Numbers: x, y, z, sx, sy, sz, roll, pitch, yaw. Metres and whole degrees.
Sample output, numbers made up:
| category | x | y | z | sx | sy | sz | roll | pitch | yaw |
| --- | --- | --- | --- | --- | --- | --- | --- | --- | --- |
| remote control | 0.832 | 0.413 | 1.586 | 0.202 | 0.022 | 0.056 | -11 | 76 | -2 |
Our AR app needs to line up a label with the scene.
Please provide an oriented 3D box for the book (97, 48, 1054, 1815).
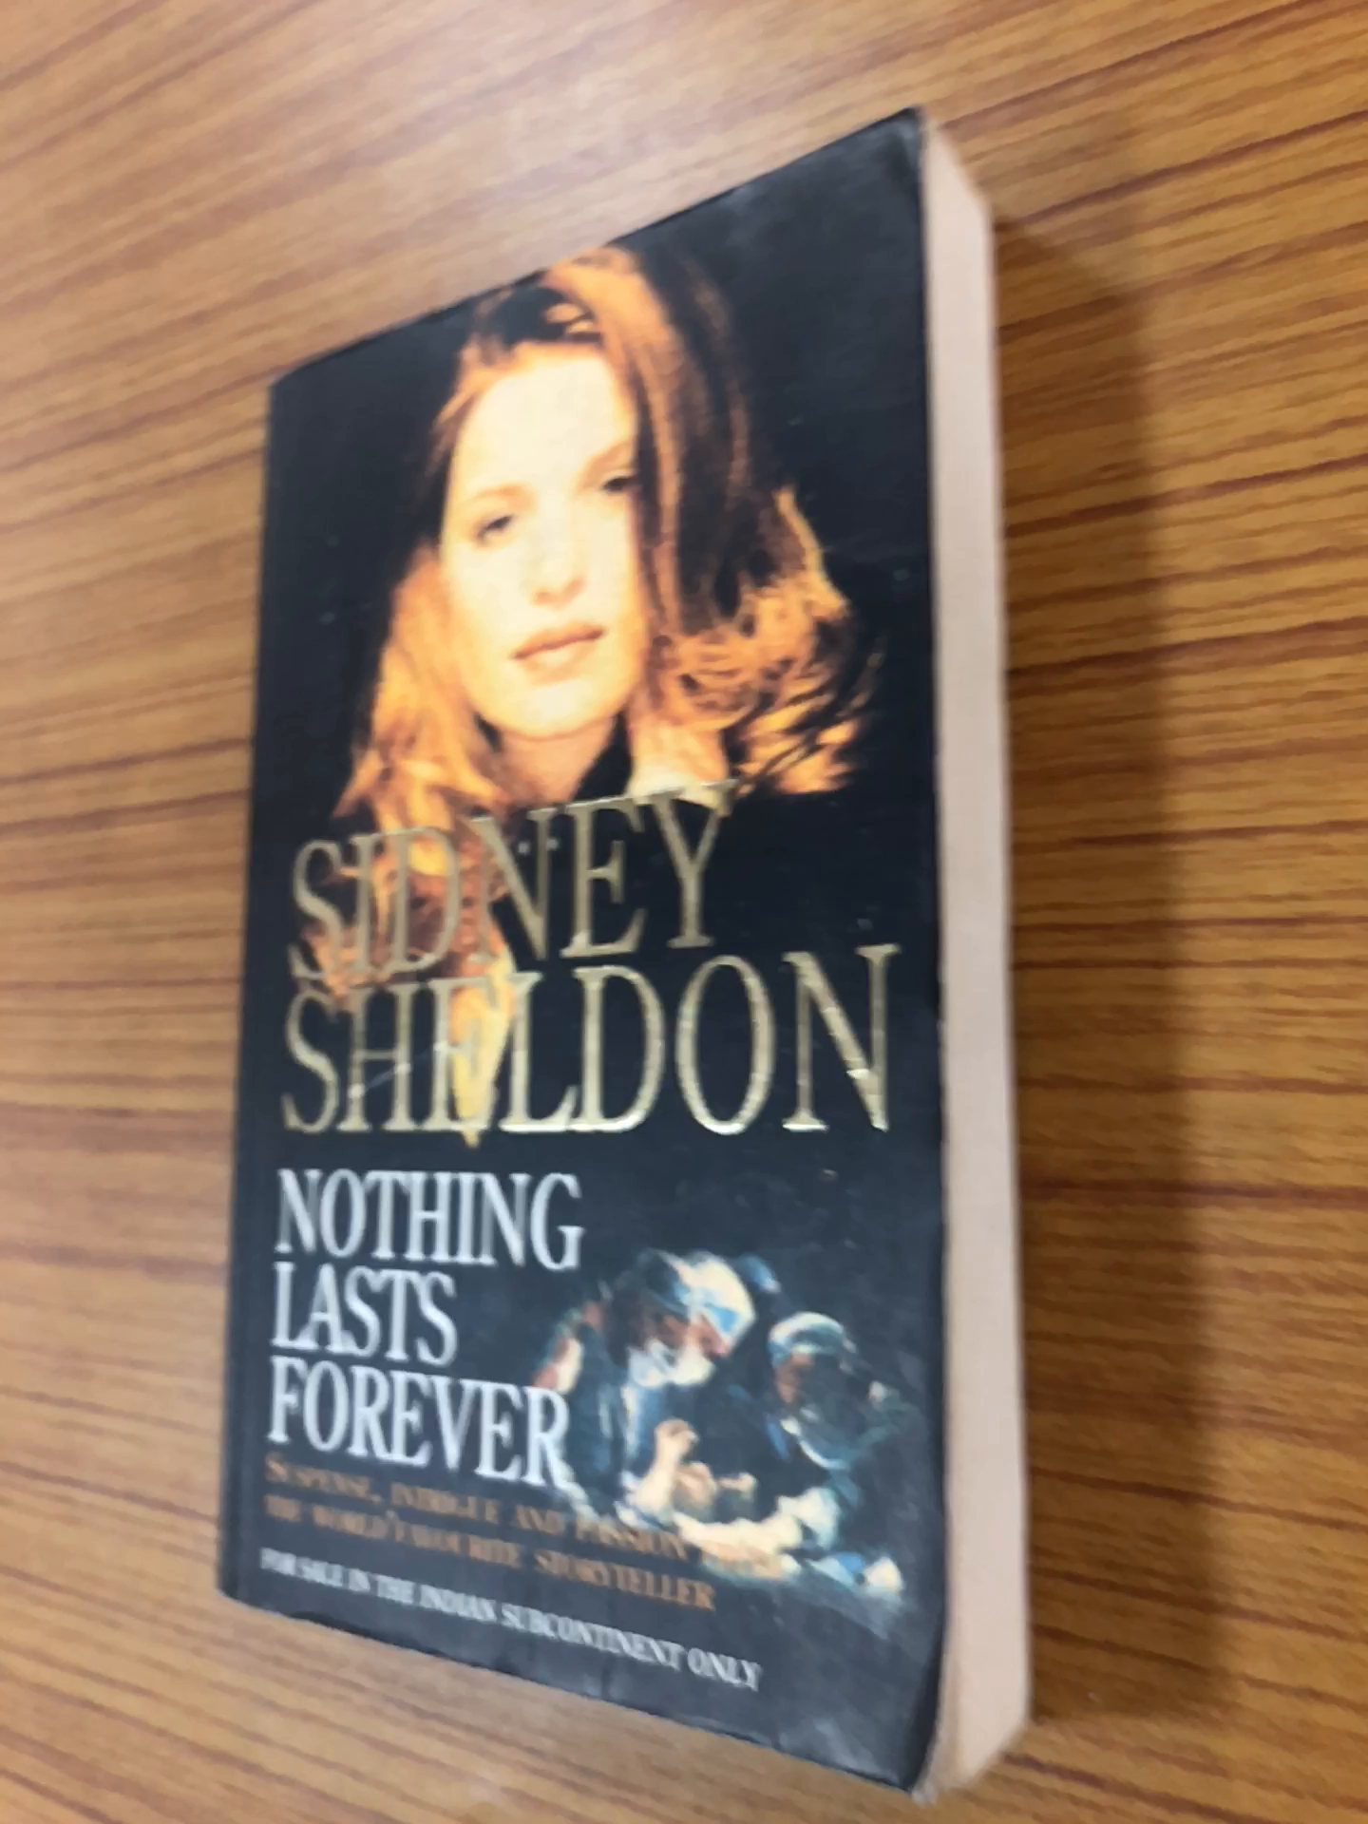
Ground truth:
| category | x | y | z | sx | sy | sz | roll | pitch | yaw |
| --- | --- | --- | --- | --- | --- | --- | --- | --- | --- |
| book | -0.021 | 0.002 | 0.195 | 0.121 | 0.030 | 0.170 | -6 | 81 | 35 |
